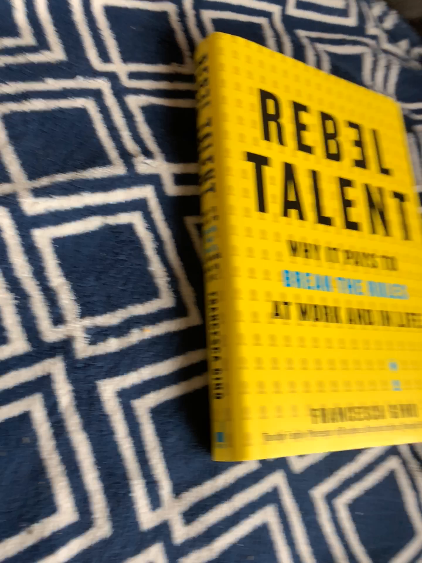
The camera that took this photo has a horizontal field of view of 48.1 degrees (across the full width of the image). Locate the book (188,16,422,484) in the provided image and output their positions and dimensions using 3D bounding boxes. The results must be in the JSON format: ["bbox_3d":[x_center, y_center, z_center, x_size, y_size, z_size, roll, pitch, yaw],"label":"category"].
[{"bbox_3d":[0.074,-0.020,0.277,0.167,0.032,0.237,6,70,-30],"label":"book"}]
